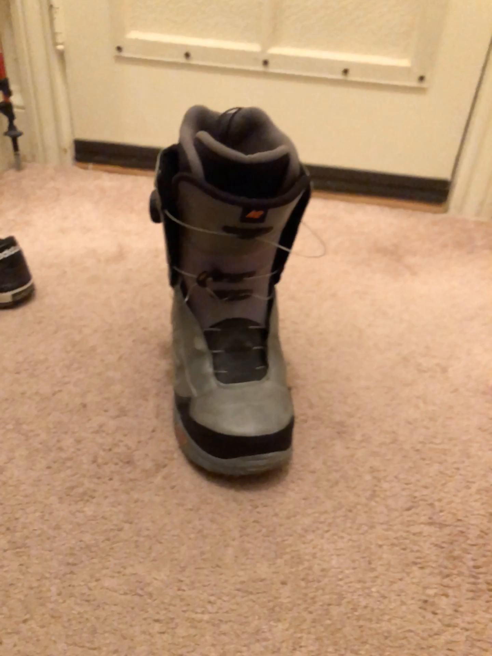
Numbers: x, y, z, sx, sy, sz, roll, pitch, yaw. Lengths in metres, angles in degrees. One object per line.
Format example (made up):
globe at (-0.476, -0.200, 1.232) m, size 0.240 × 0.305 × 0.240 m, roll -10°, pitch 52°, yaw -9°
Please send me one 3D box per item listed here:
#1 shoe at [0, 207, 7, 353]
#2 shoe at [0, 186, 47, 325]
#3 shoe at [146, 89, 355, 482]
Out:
shoe at (-0.460, -0.063, 0.677) m, size 0.283 × 0.106 × 0.088 m, roll 10°, pitch 36°, yaw 8°
shoe at (-0.462, -0.110, 0.793) m, size 0.303 × 0.116 × 0.108 m, roll 12°, pitch 32°, yaw 10°
shoe at (-0.021, -0.054, 0.545) m, size 0.137 × 0.281 × 0.275 m, roll -1°, pitch 36°, yaw -8°
